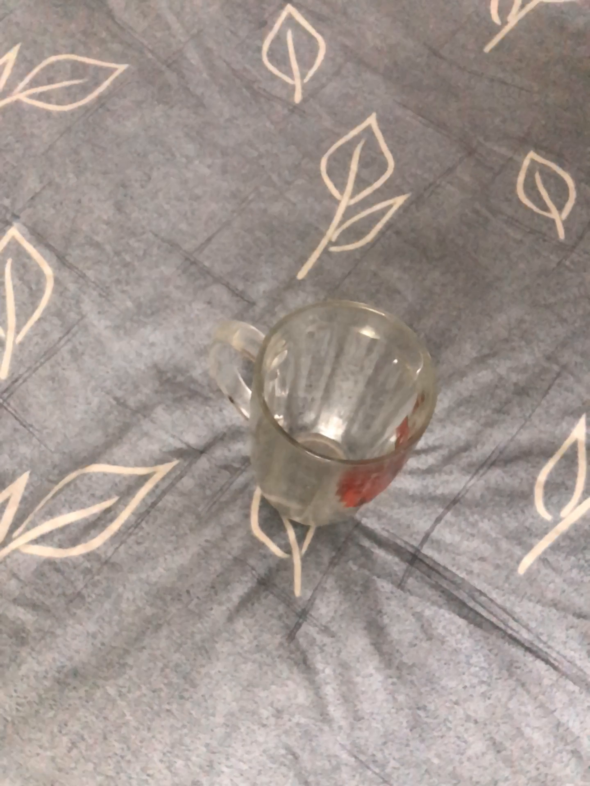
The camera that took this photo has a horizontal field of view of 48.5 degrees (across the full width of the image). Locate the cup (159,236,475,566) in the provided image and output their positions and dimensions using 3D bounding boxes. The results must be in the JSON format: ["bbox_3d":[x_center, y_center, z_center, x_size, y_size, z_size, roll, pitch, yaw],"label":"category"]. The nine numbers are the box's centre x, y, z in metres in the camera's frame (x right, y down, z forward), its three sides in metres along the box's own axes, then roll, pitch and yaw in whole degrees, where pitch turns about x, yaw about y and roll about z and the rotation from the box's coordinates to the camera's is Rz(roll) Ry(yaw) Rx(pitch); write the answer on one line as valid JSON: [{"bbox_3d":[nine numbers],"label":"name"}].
[{"bbox_3d":[0.010,0.012,0.386,0.127,0.136,0.091,37,69,16],"label":"cup"}]
